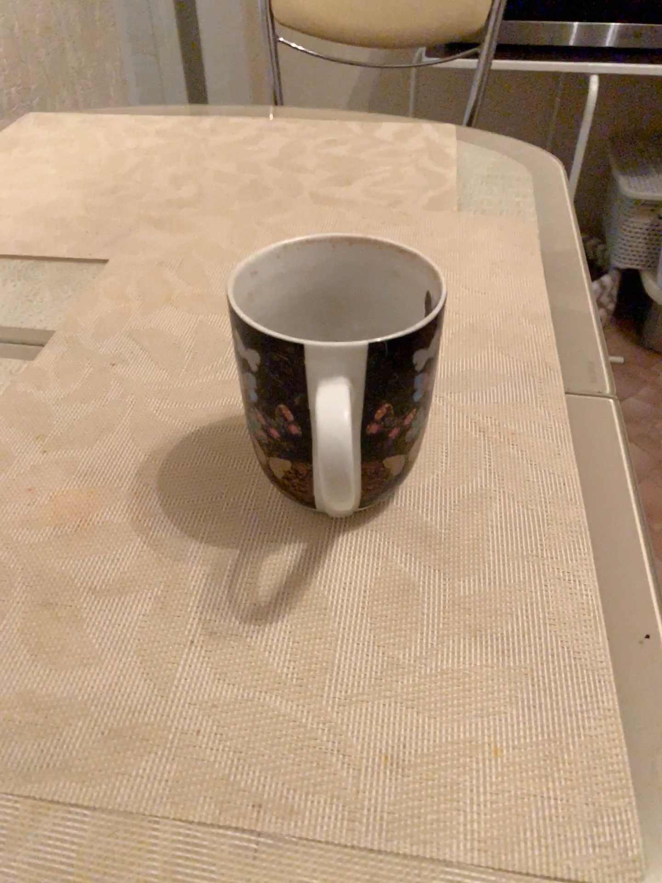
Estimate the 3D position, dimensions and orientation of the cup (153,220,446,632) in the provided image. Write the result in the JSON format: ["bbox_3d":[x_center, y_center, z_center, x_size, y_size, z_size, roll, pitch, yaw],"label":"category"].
[{"bbox_3d":[-0.002,-0.011,0.266,0.081,0.097,0.127,4,43,5],"label":"cup"}]
